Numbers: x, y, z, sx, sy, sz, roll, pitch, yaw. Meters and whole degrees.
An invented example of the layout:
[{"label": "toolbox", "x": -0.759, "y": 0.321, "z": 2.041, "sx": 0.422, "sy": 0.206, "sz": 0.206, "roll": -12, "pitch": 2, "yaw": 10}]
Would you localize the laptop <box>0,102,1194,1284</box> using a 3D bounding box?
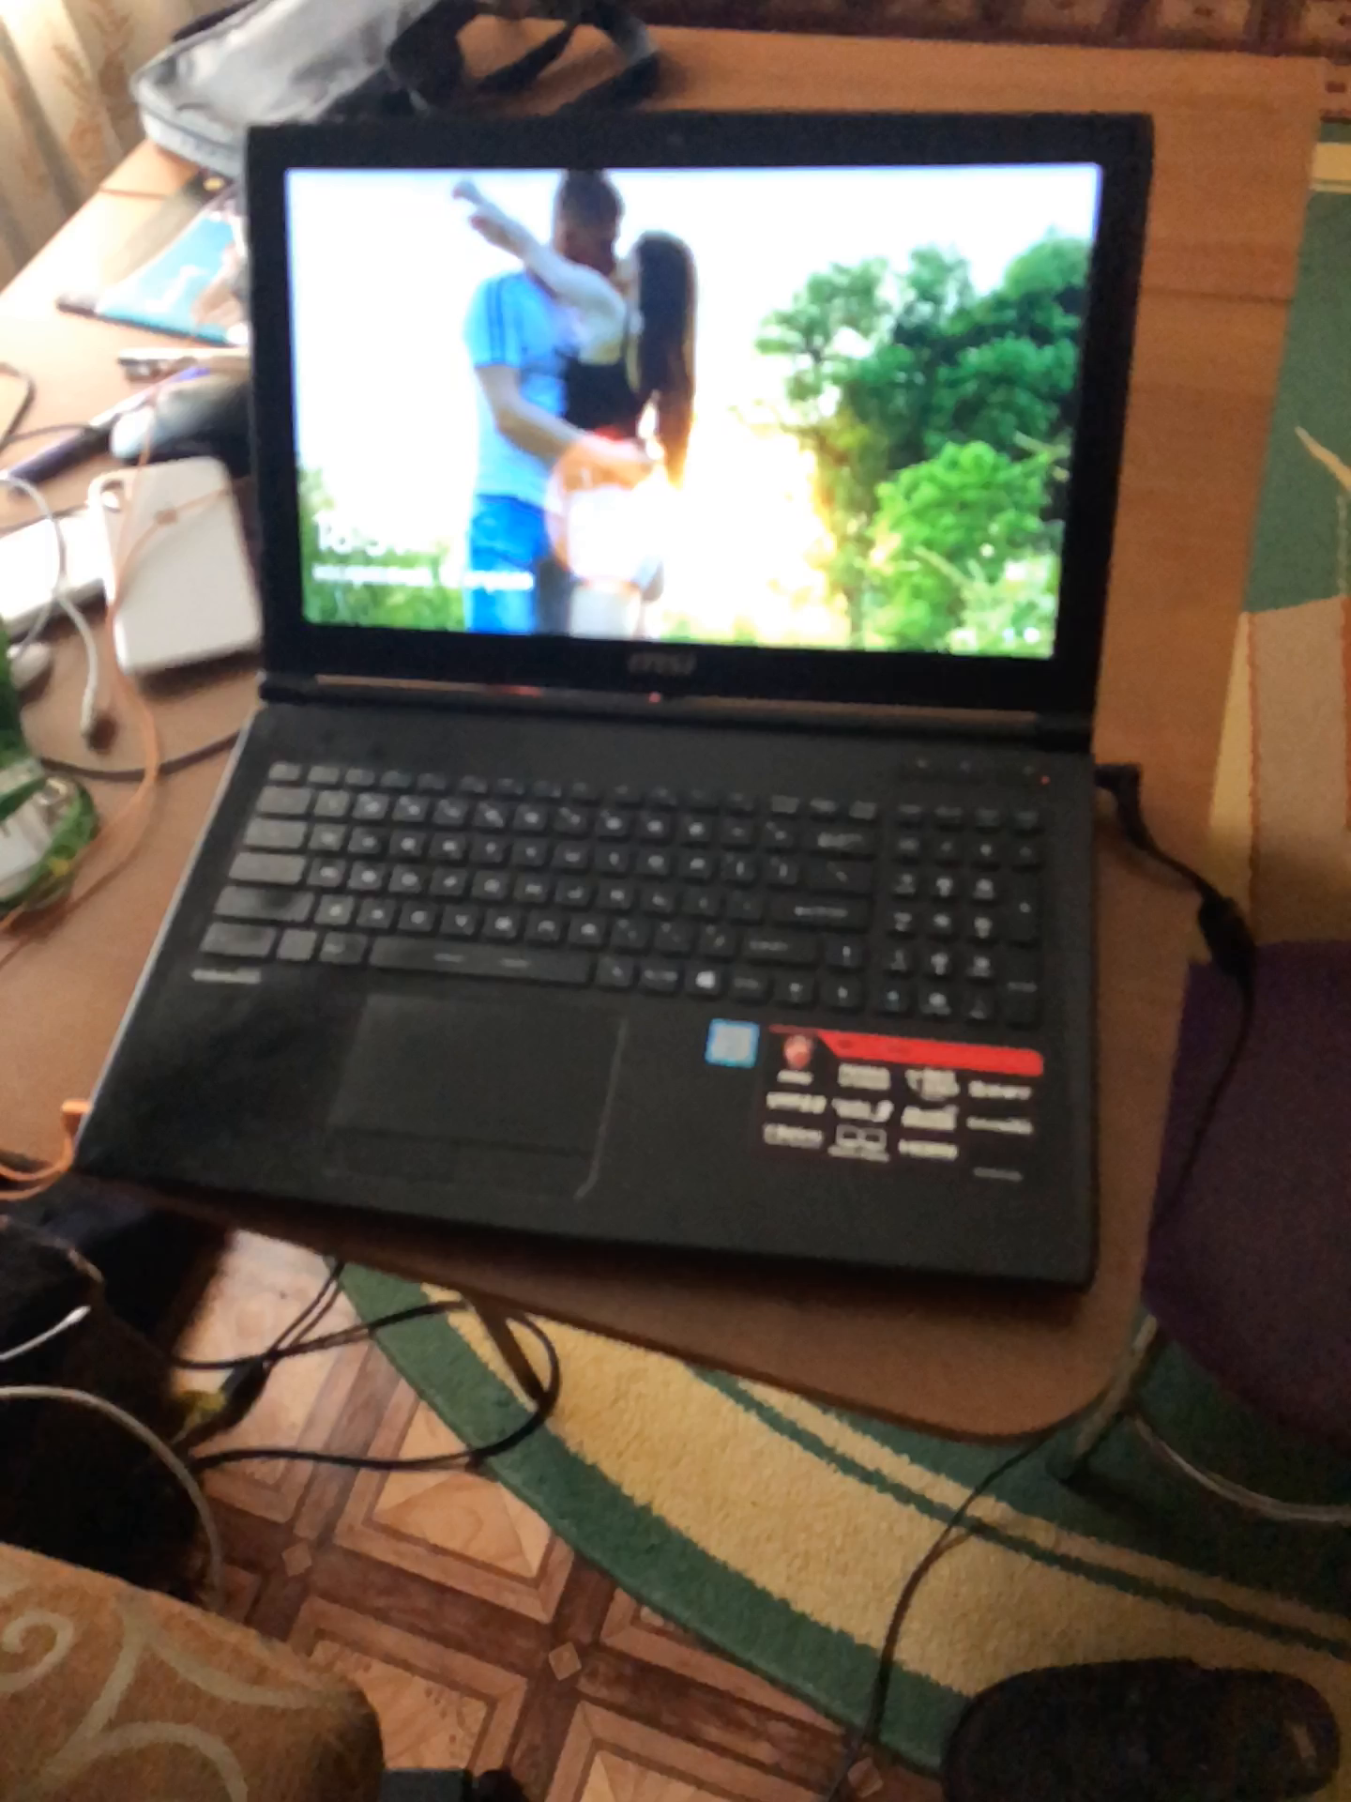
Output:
[{"label": "laptop", "x": -0.025, "y": -0.106, "z": 0.562, "sx": 0.374, "sy": 0.174, "sz": 0.410, "roll": 4, "pitch": 56, "yaw": 9}]
